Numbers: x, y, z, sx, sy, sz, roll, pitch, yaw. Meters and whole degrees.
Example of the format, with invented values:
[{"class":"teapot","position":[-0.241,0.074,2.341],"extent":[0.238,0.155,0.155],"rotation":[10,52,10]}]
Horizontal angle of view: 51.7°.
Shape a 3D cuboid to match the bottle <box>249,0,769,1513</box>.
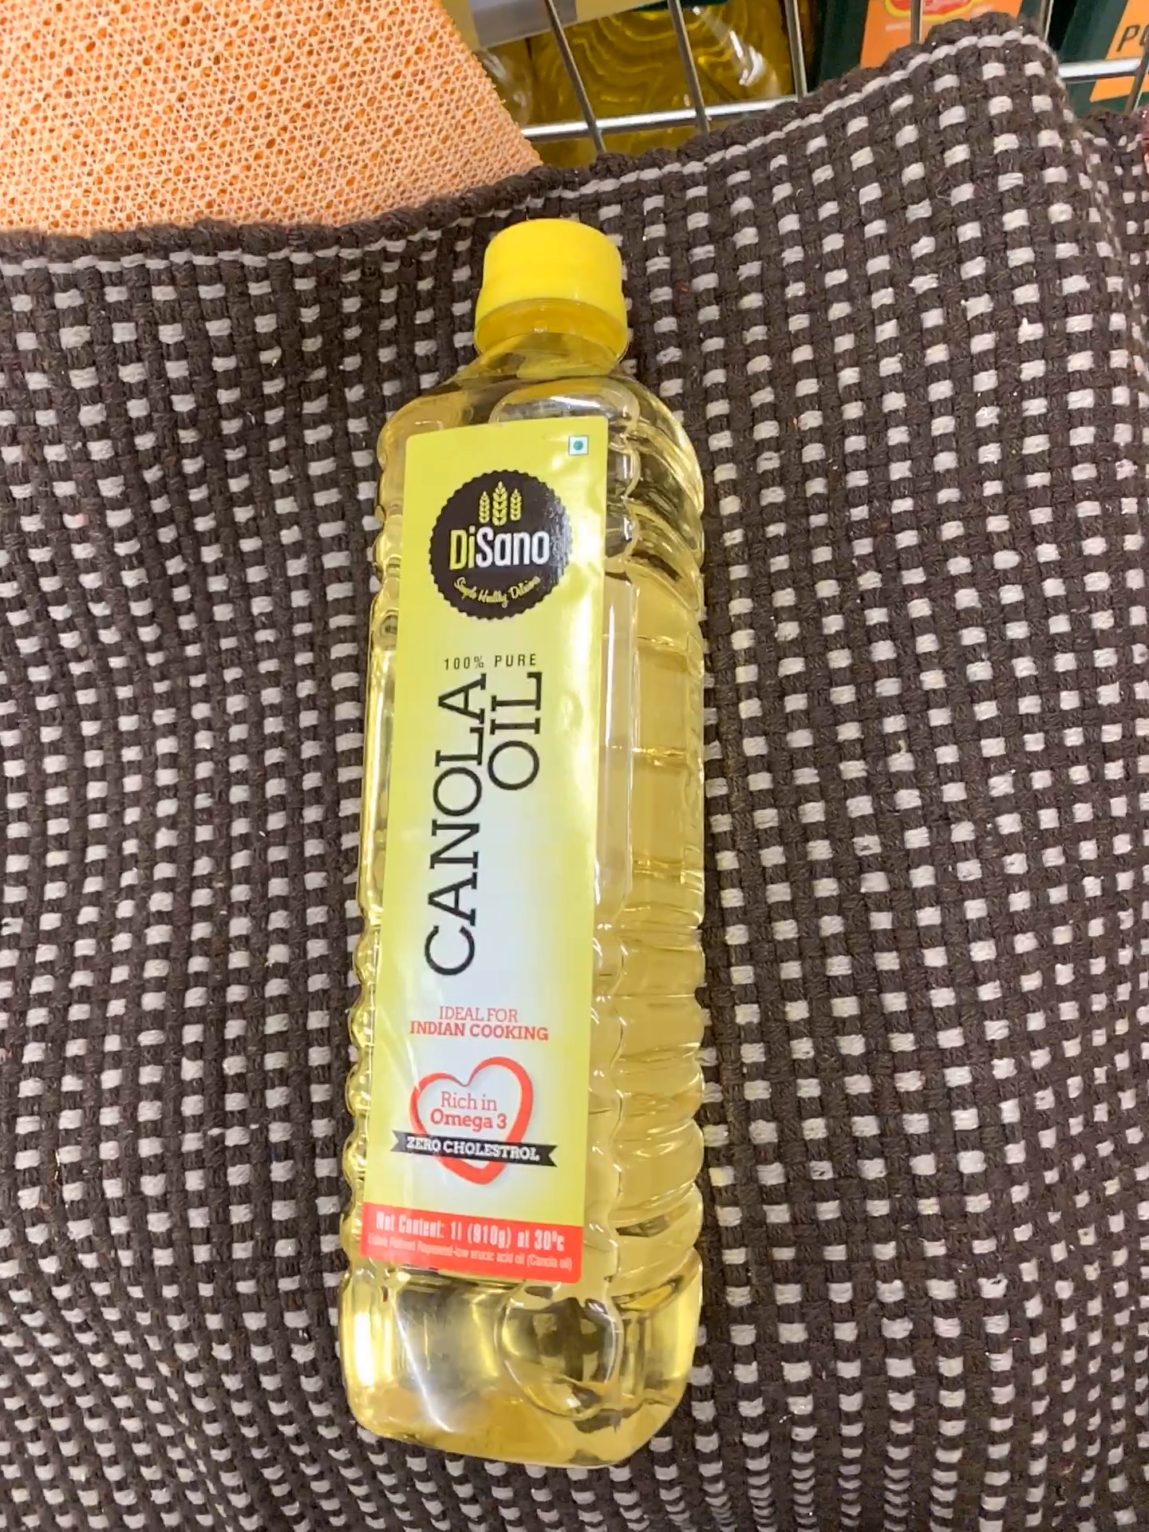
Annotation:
[{"class":"bottle","position":[-0.005,-0.011,0.229],"extent":[0.070,0.060,0.250],"rotation":[-1,80,19]}]
